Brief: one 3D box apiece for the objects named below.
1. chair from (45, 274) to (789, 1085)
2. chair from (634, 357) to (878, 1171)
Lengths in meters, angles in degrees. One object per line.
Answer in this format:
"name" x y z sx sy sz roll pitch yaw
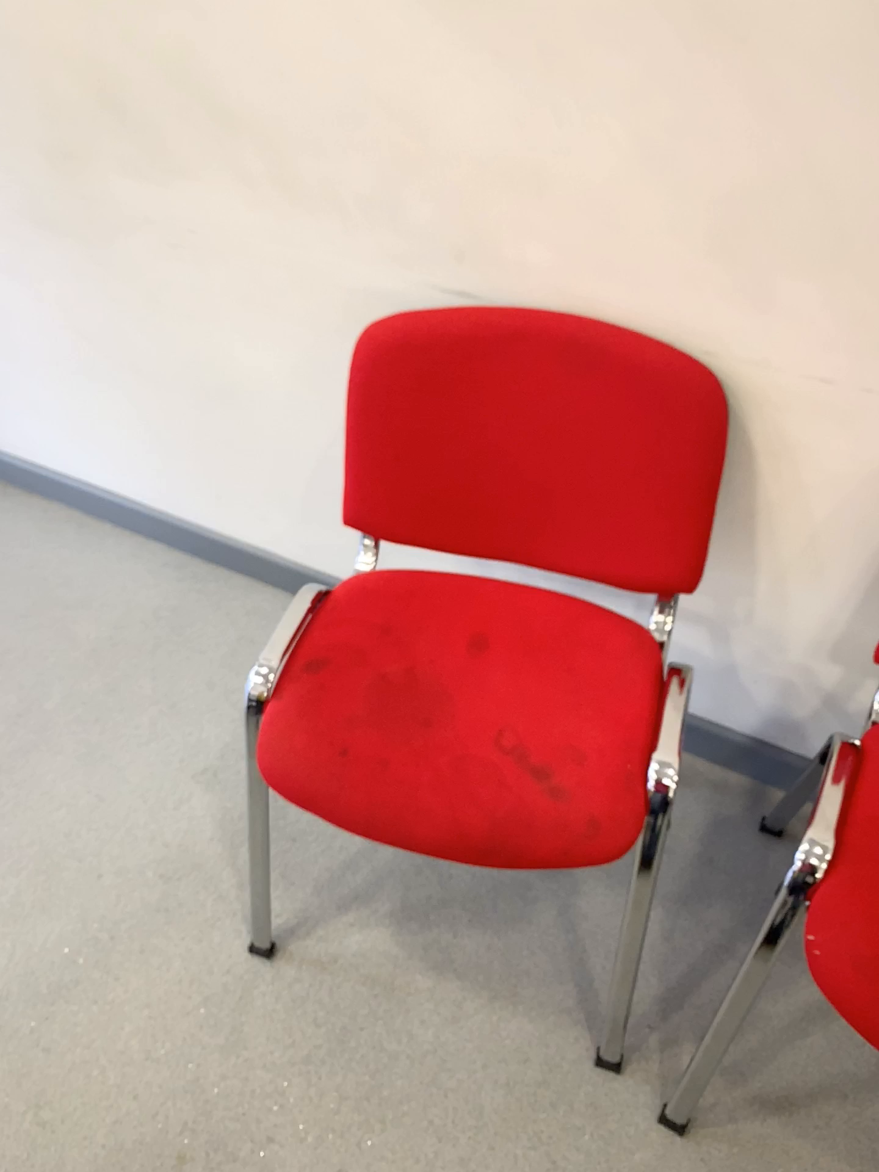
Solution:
"chair" 0.047 0.121 1.209 0.598 0.753 0.633 12 48 14
"chair" 0.626 0.319 0.959 0.569 0.792 0.592 21 51 22
